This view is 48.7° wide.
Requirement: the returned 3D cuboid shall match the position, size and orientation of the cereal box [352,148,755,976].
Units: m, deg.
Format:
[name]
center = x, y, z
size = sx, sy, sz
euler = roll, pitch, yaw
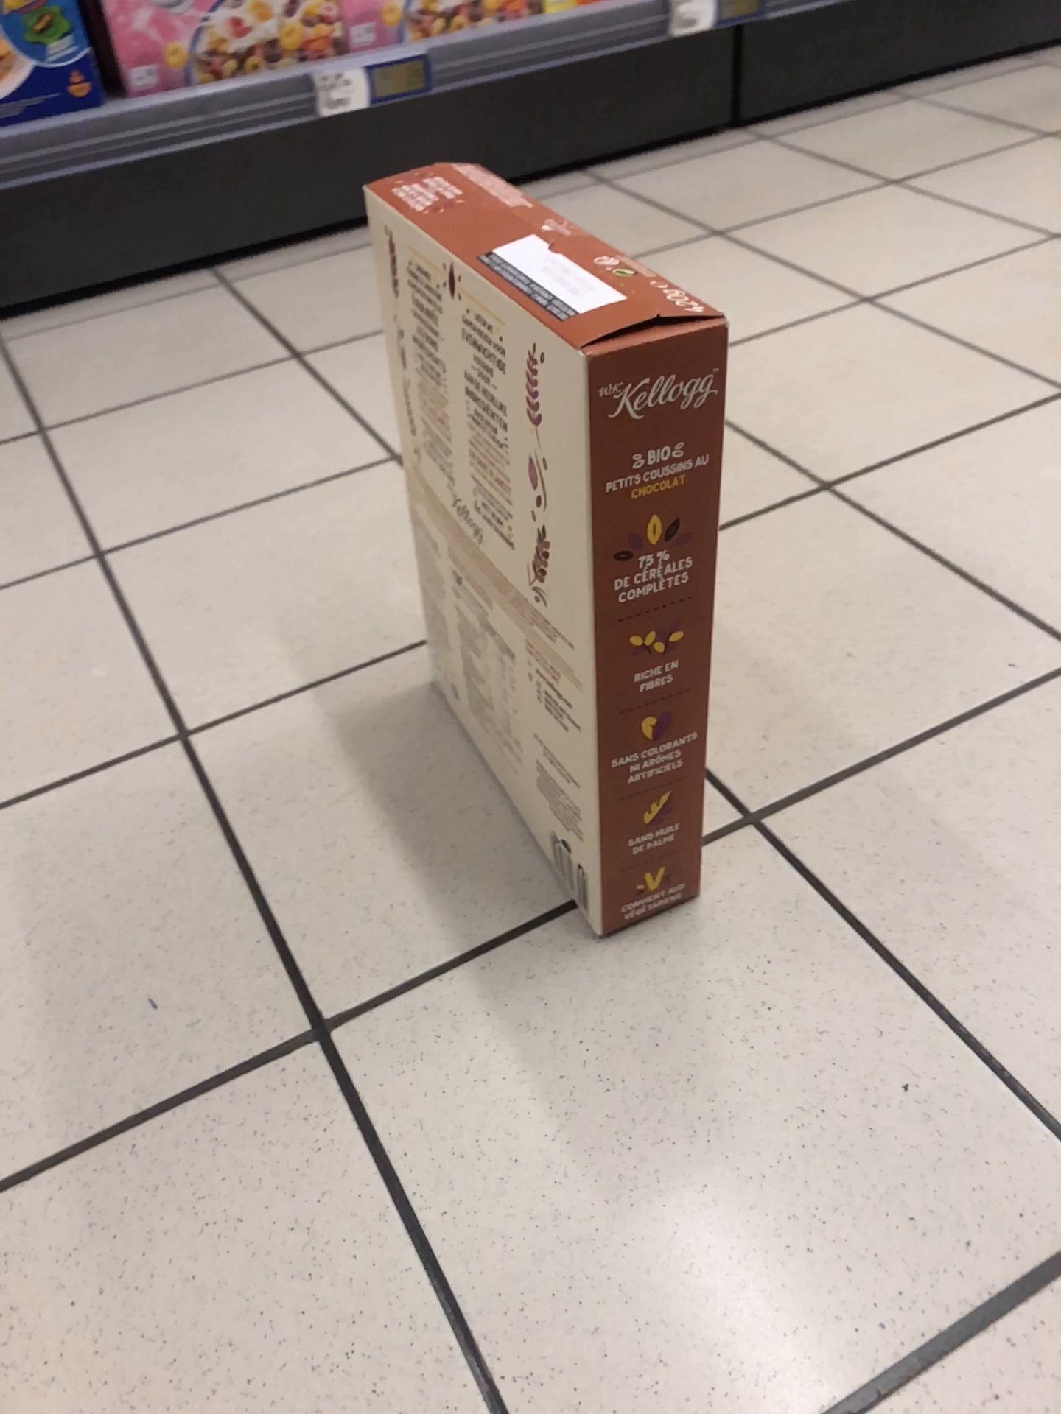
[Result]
[cereal box]
center = 0.001, -0.057, 0.453
size = 0.050, 0.249, 0.201
euler = -17, 41, -17
